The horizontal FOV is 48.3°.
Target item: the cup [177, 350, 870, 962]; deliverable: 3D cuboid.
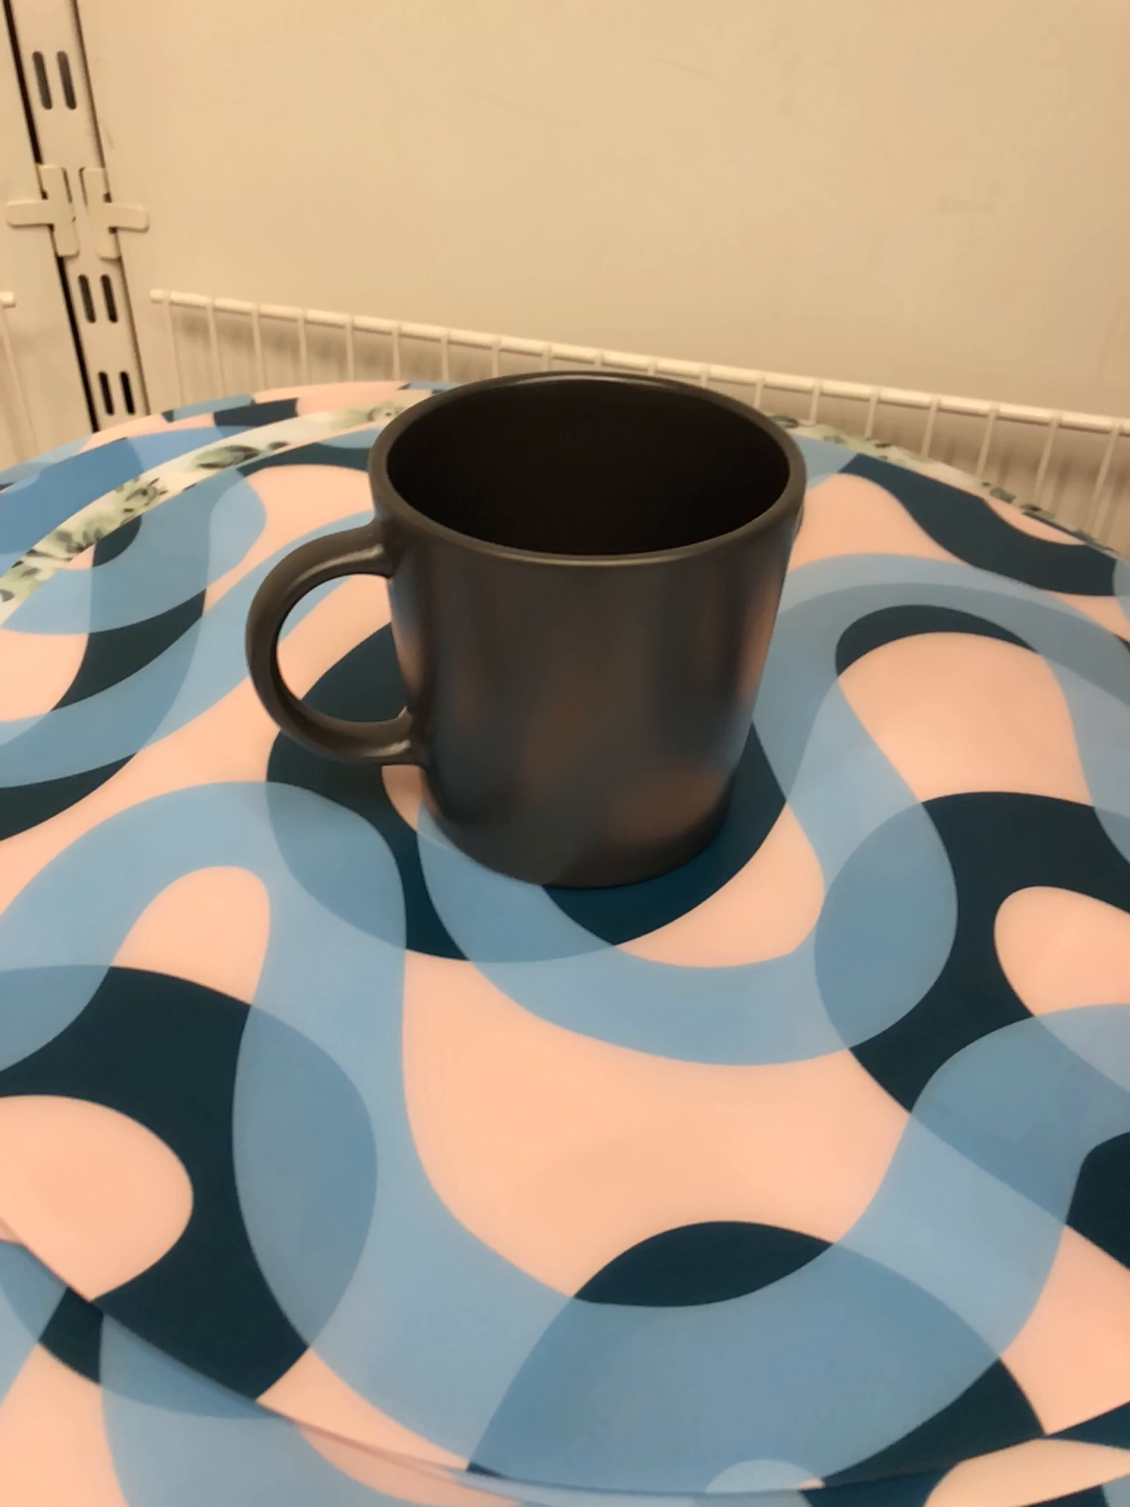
[{"bbox_3d":[-0.014,-0.026,0.277,0.120,0.090,0.090,-6,37,-10],"label":"cup"}]
